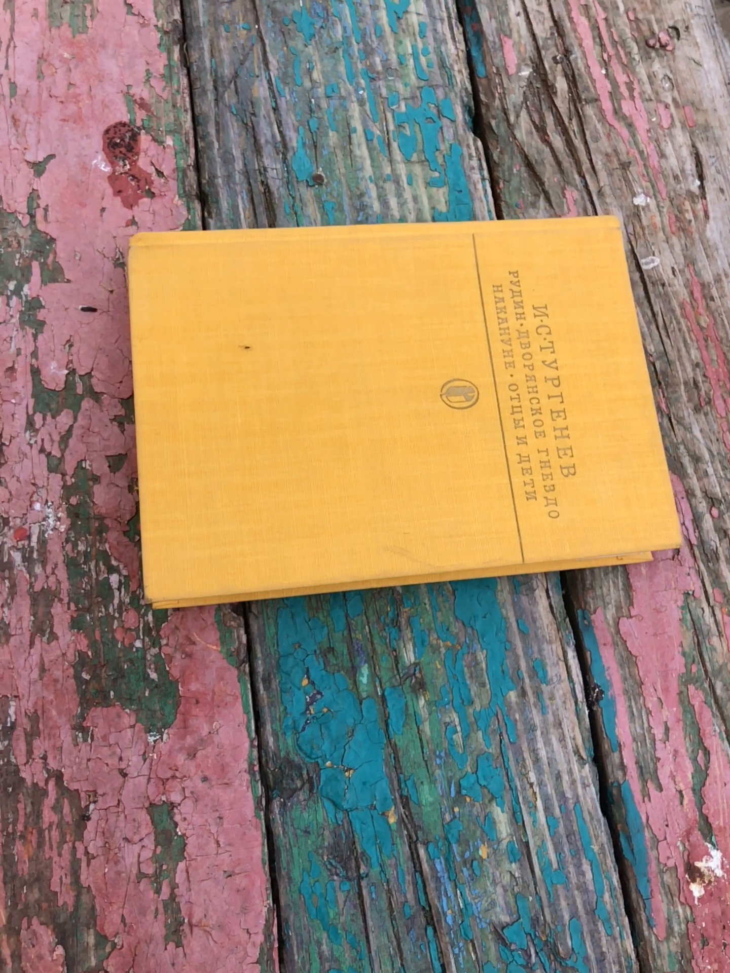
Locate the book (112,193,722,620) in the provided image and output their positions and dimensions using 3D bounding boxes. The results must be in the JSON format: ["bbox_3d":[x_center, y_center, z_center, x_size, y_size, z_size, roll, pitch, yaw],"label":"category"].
[{"bbox_3d":[0.018,-0.036,0.322,0.217,0.032,0.153,-5,78,-9],"label":"book"}]
